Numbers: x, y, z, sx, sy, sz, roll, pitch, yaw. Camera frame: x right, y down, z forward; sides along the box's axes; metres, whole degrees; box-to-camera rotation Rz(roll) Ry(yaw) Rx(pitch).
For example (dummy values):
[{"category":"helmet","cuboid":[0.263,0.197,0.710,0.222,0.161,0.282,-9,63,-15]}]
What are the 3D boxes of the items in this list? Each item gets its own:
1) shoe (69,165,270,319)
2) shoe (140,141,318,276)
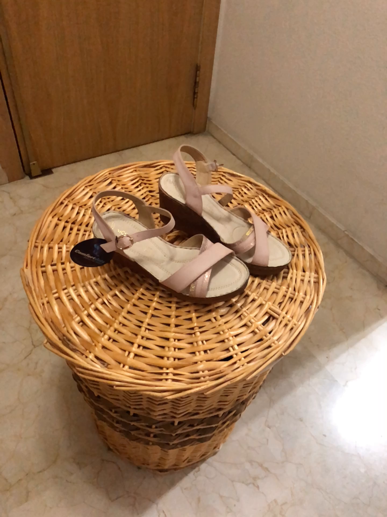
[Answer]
[{"category":"shoe","cuboid":[-0.037,-0.029,0.626,0.260,0.104,0.100,21,48,13]},{"category":"shoe","cuboid":[0.052,-0.084,0.686,0.251,0.100,0.112,19,47,10]}]
